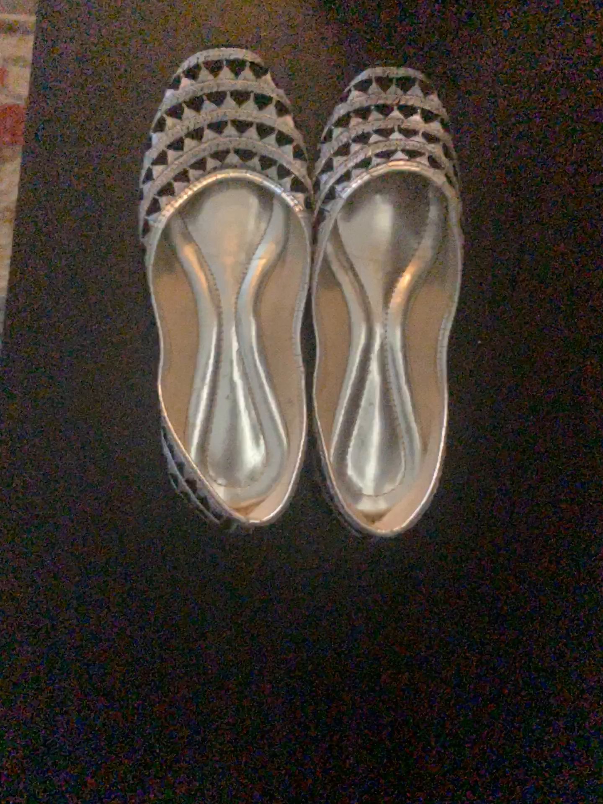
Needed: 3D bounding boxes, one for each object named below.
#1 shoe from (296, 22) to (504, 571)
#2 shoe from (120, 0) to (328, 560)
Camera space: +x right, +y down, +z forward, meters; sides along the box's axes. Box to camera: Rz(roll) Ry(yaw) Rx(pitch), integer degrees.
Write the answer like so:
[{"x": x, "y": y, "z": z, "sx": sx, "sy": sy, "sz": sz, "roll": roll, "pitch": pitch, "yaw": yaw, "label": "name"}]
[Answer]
[{"x": 0.051, "y": -0.052, "z": 0.348, "sx": 0.095, "sy": 0.070, "sz": 0.270, "roll": 1, "pitch": 88, "yaw": -8, "label": "shoe"}, {"x": -0.041, "y": -0.062, "z": 0.333, "sx": 0.095, "sy": 0.070, "sz": 0.270, "roll": -1, "pitch": 89, "yaw": -8, "label": "shoe"}]
